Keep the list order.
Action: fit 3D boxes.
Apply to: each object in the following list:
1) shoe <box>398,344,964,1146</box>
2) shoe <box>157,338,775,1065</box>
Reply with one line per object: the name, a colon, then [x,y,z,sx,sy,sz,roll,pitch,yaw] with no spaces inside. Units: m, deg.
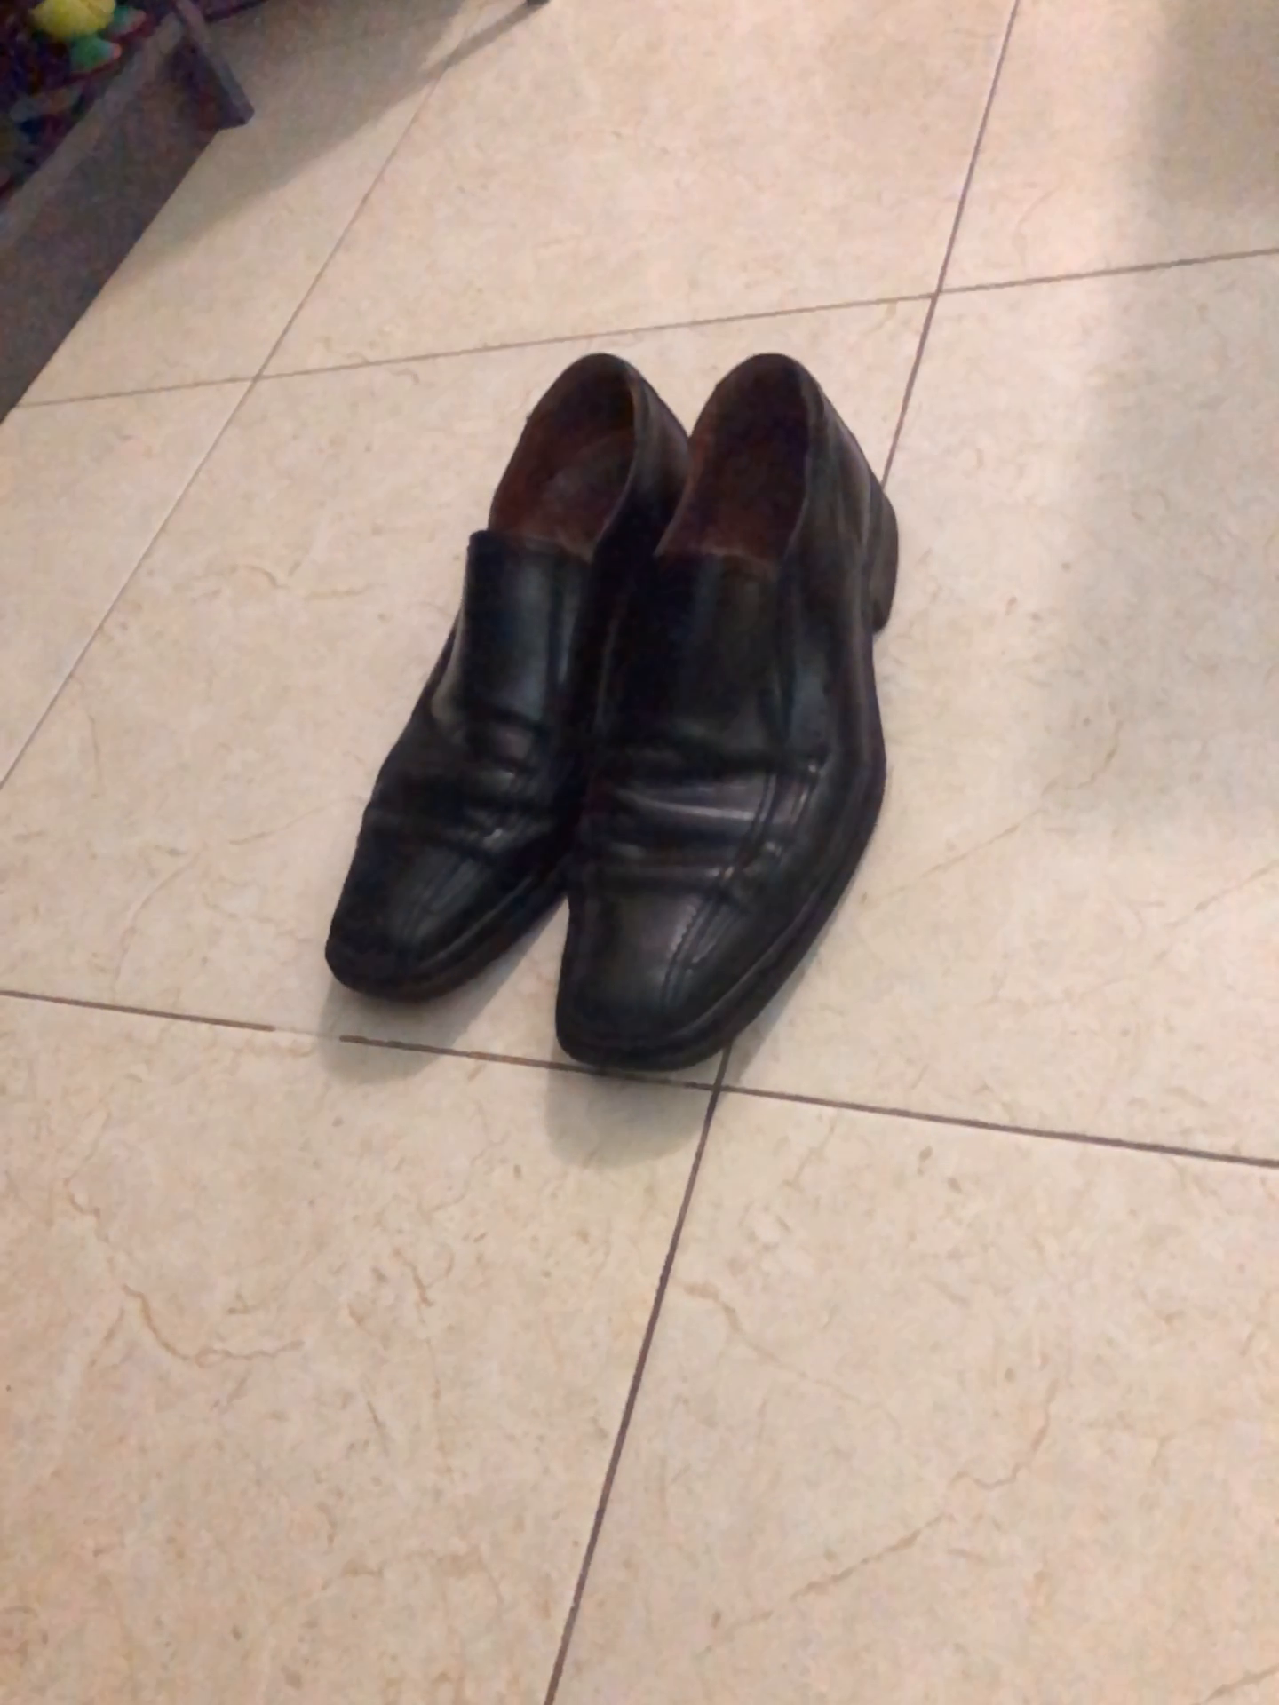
shoe: [0.033,-0.055,0.555,0.120,0.090,0.311,3,57,26]
shoe: [-0.058,-0.078,0.605,0.120,0.090,0.311,8,59,29]
